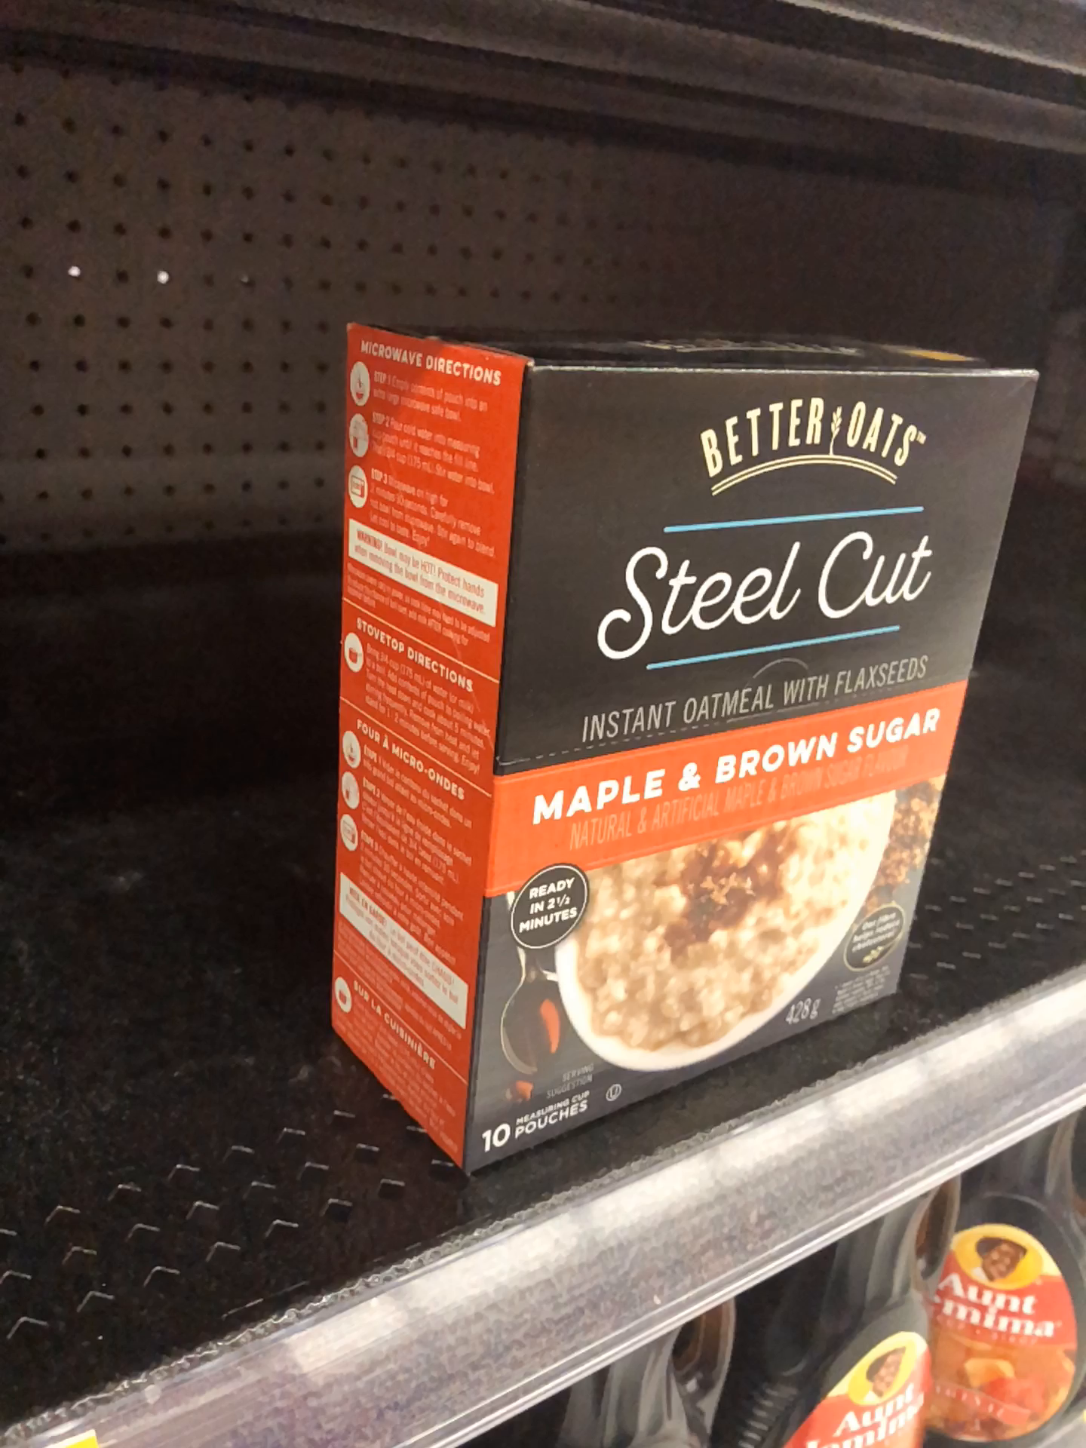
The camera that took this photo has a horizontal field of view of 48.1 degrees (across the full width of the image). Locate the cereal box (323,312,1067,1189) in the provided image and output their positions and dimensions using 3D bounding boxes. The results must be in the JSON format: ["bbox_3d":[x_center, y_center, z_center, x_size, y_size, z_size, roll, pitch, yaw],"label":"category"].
[{"bbox_3d":[0.035,-0.004,0.310,0.160,0.179,0.070,-11,27,-35],"label":"cereal box"}]
